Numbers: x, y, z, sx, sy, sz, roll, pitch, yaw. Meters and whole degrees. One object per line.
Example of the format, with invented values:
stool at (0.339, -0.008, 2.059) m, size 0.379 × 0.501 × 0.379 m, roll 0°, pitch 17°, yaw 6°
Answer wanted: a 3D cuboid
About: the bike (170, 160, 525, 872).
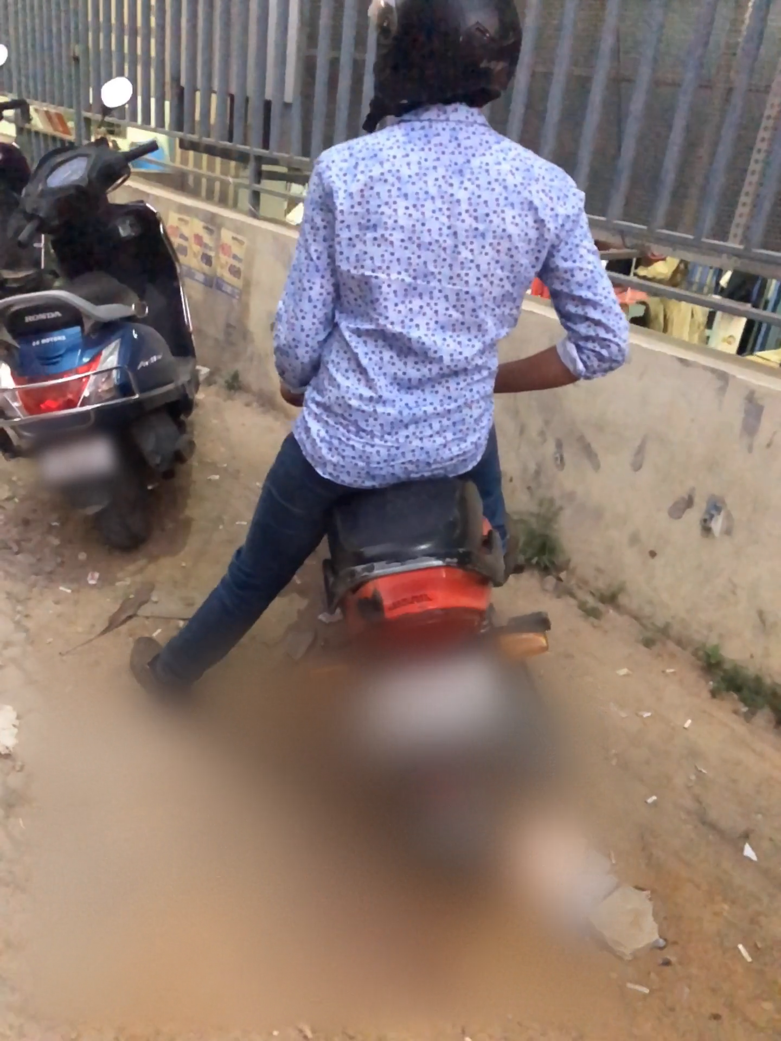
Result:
bike at (-0.271, -0.204, 2.055) m, size 0.424 × 0.830 × 1.661 m, roll 0°, pitch 32°, yaw -16°
